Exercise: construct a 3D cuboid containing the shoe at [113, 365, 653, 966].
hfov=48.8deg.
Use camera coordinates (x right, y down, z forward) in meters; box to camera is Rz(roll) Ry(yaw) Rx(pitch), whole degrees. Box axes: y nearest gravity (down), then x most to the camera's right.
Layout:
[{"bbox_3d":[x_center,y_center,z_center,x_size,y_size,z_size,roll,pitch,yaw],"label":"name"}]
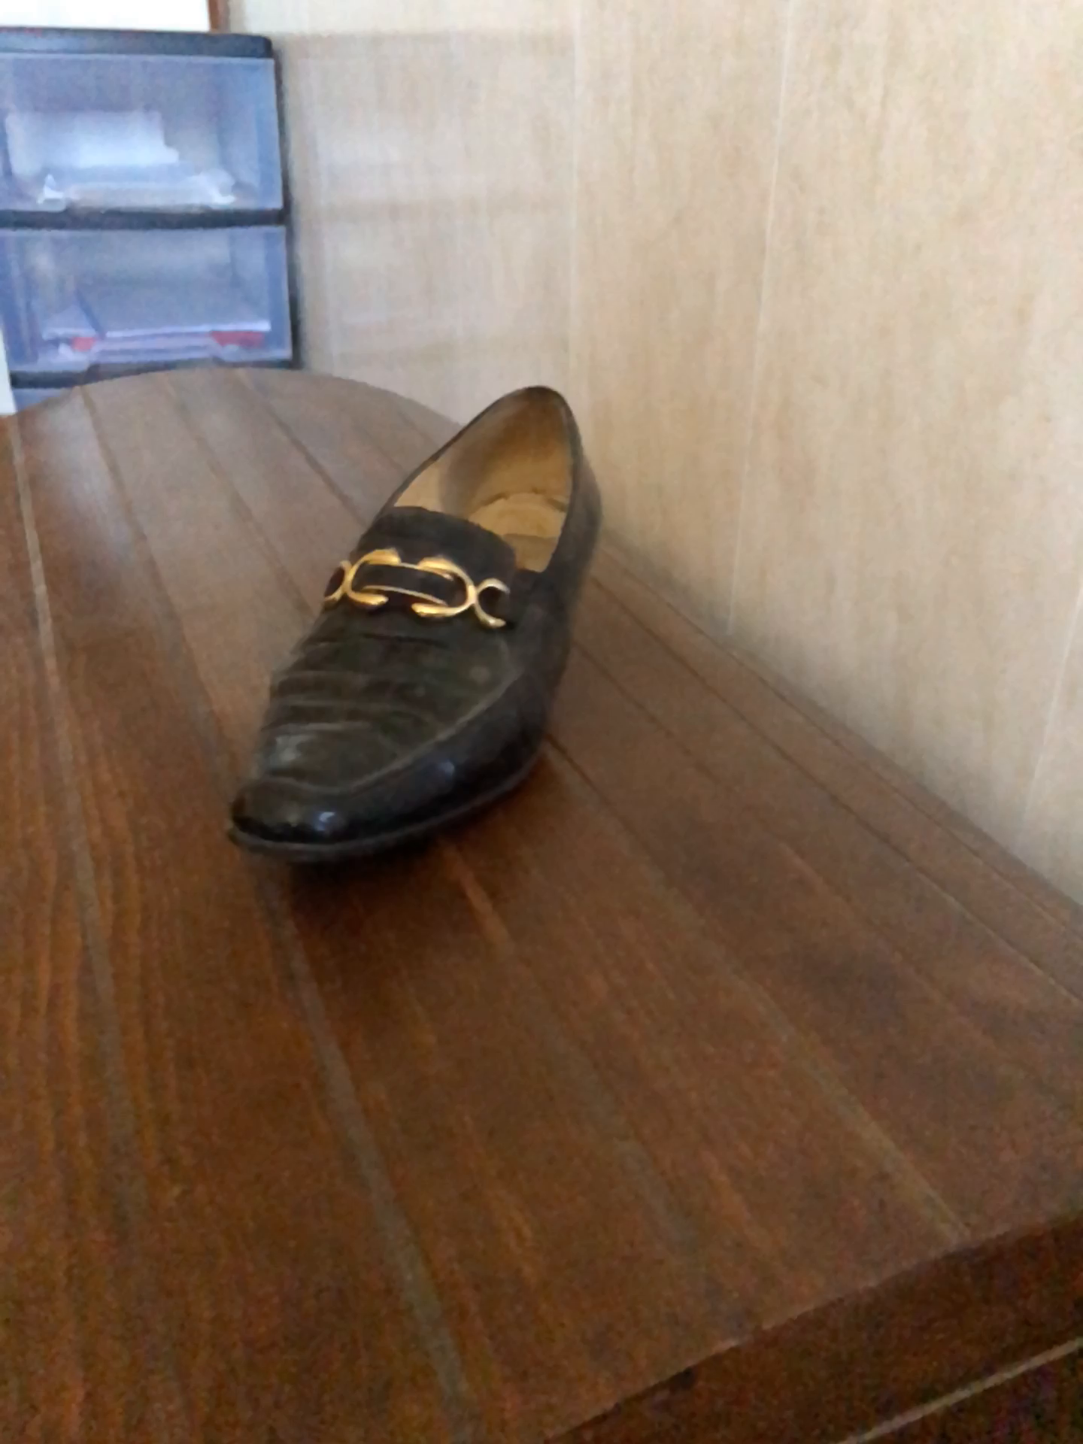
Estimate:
[{"bbox_3d":[-0.031,-0.041,0.407,0.090,0.099,0.242,8,30,13],"label":"shoe"}]
